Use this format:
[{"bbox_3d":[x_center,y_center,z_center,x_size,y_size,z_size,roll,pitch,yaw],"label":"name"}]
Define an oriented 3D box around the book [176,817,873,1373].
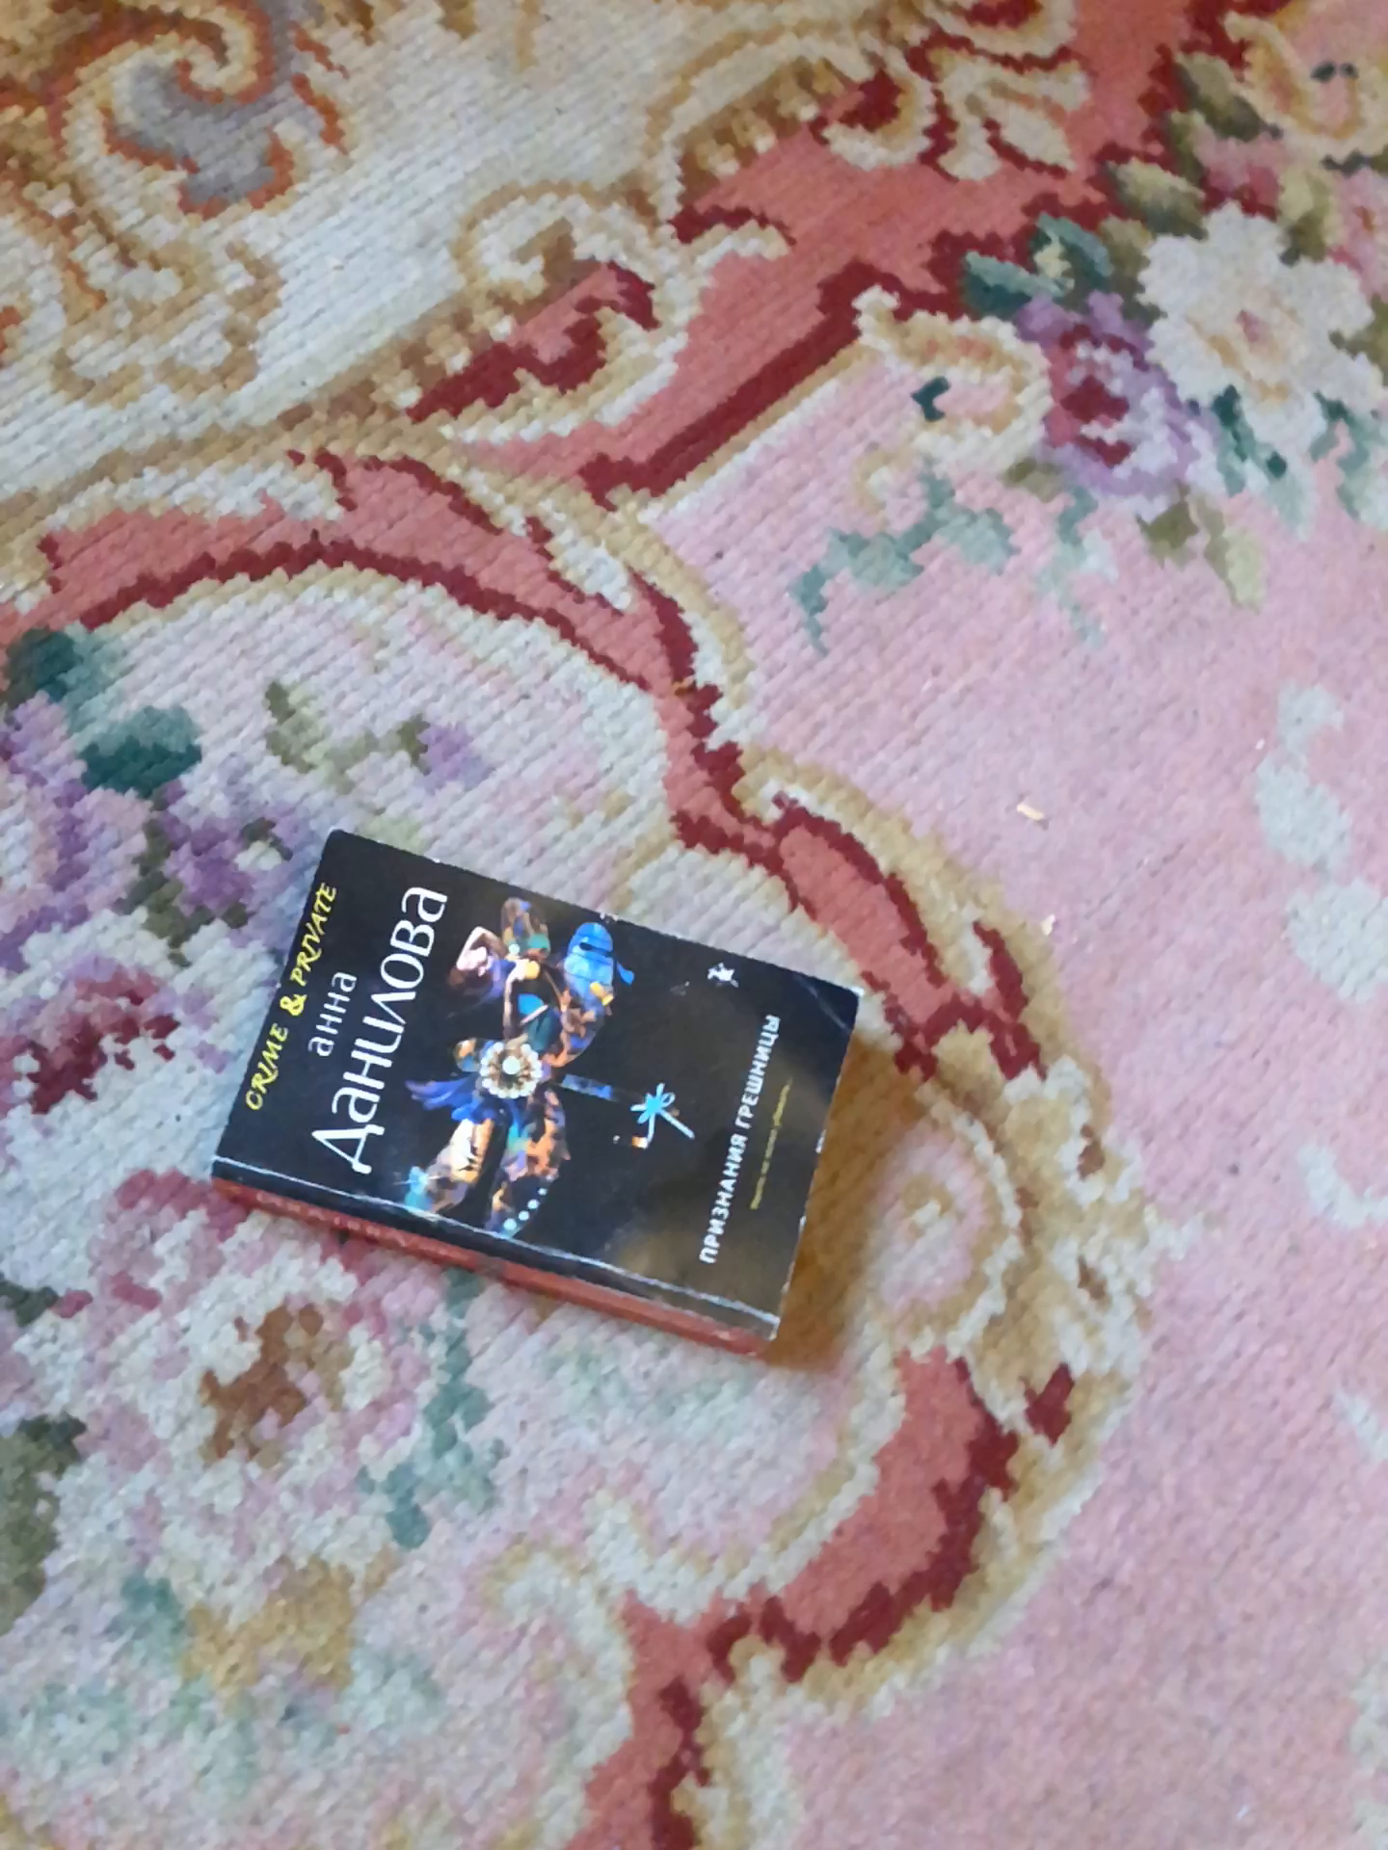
[{"bbox_3d":[-0.045,0.051,0.442,0.165,0.050,0.110,17,70,-2],"label":"book"}]
